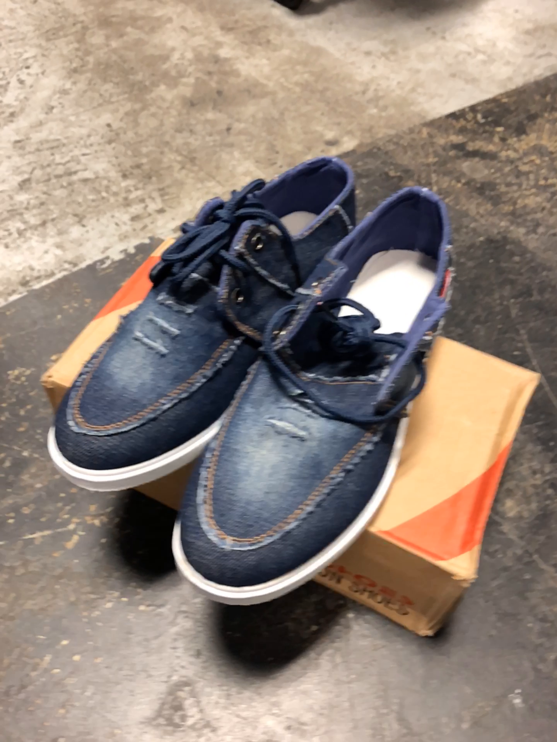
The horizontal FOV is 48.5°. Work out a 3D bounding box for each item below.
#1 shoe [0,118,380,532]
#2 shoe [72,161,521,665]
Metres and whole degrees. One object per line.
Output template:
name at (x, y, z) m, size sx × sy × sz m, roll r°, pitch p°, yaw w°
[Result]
shoe at (-0.050, -0.043, 0.362) m, size 0.090 × 0.079 × 0.251 m, roll 31°, pitch 58°, yaw 20°
shoe at (0.028, 0.000, 0.342) m, size 0.100 × 0.079 × 0.271 m, roll 27°, pitch 56°, yaw 18°
